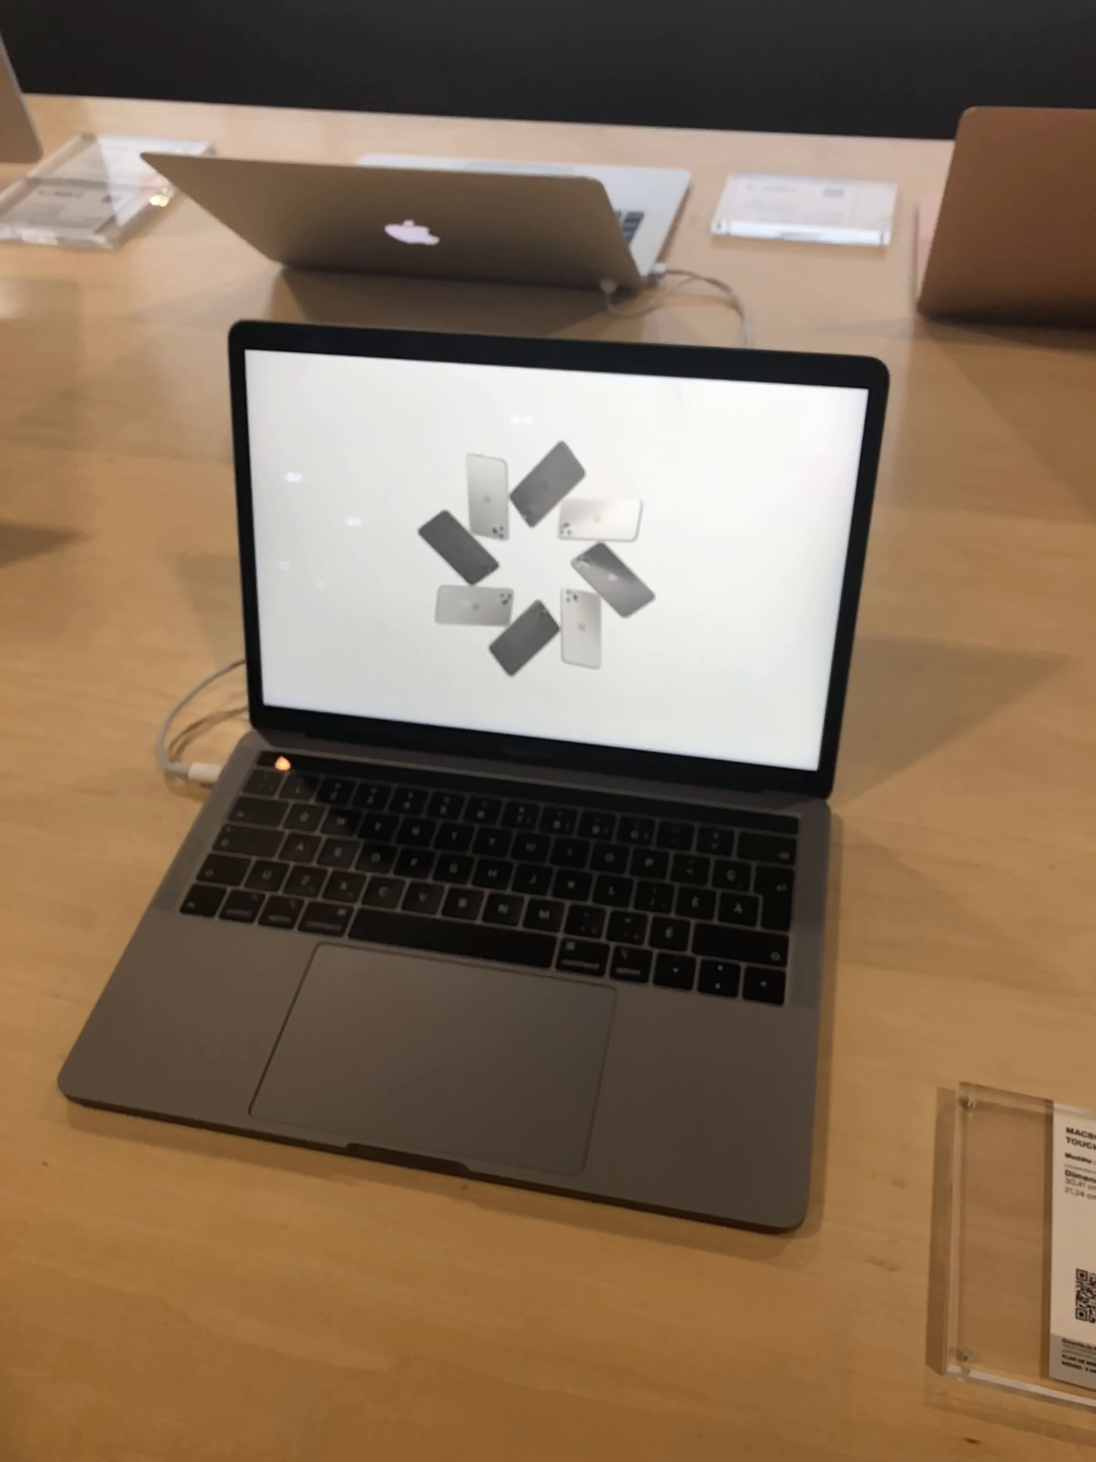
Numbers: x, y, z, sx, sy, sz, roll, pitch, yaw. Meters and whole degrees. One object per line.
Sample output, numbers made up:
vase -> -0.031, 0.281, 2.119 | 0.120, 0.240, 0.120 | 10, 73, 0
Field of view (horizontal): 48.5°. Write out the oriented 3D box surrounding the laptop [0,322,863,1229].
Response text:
laptop -> -0.033, -0.005, 0.506 | 0.296, 0.181, 0.296 | 7, 46, 9
